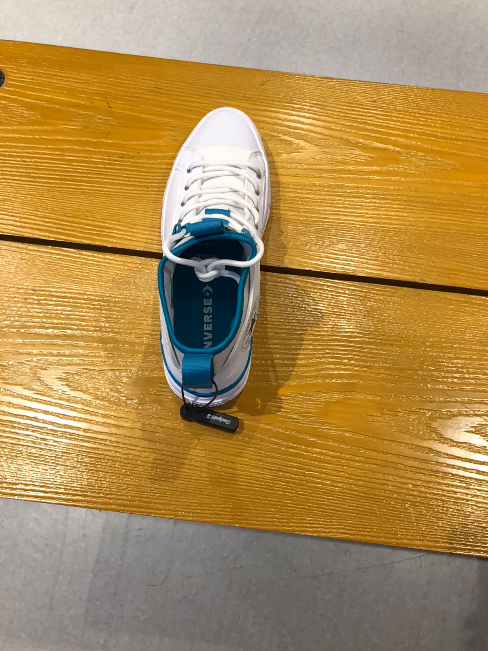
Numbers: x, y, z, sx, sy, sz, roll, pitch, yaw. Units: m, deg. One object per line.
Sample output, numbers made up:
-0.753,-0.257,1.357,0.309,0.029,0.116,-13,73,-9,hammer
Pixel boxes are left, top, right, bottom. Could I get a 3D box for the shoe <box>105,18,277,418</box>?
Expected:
-0.034,-0.079,0.459,0.108,0.158,0.294,1,73,-1,shoe
